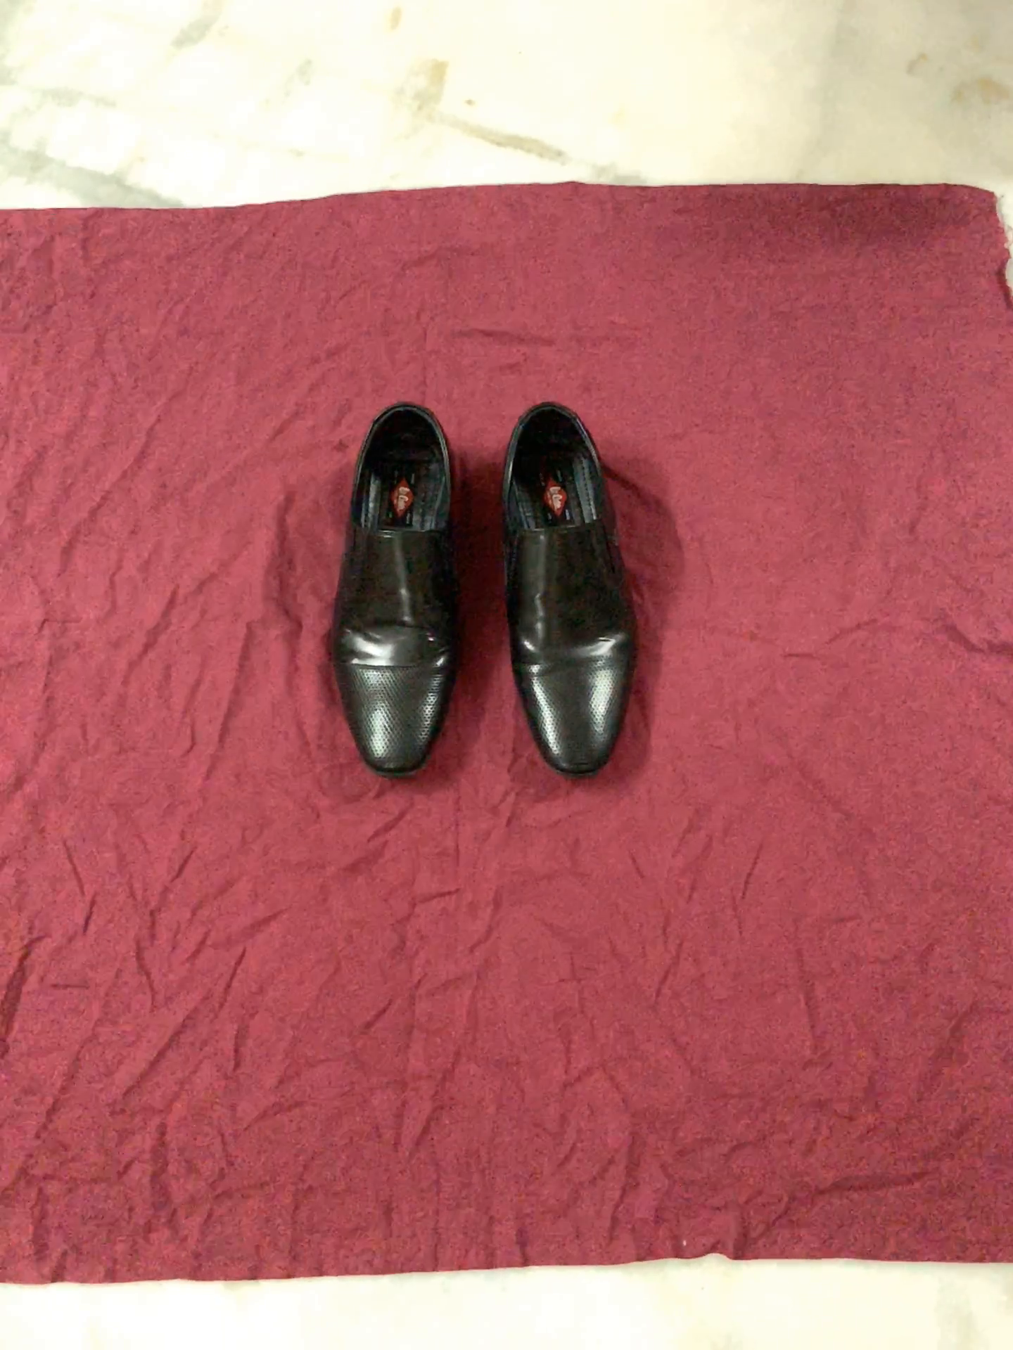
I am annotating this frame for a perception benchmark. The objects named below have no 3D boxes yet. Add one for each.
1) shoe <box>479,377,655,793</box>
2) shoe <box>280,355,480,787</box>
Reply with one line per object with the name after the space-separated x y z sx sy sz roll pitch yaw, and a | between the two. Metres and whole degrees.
0.039 -0.069 0.775 0.100 0.100 0.291 -4 68 0 | shoe
-0.083 -0.079 0.763 0.100 0.100 0.301 3 68 3 | shoe
